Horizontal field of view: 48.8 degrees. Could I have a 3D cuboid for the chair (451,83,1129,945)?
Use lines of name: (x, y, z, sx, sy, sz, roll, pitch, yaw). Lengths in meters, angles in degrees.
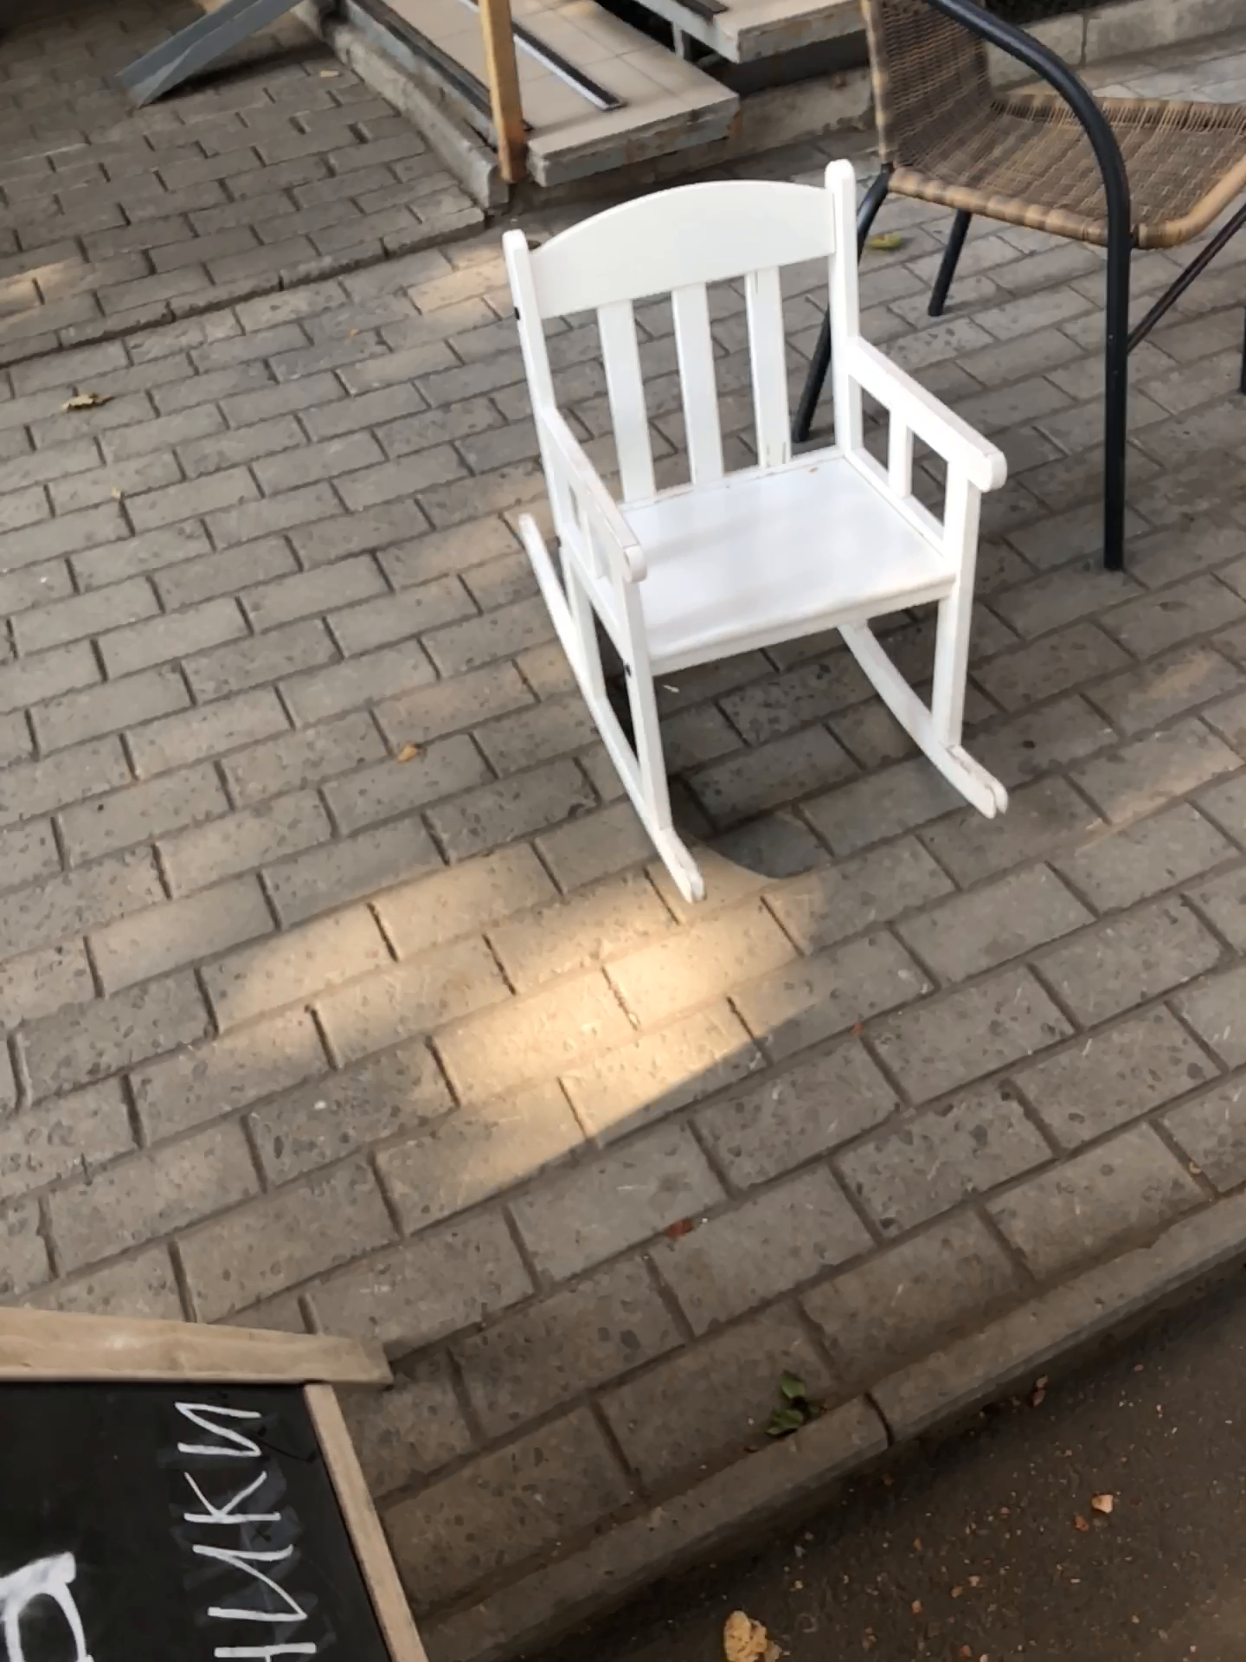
chair: (0.121, -0.363, 1.465, 0.380, 0.518, 0.733, -15, 48, -8)
